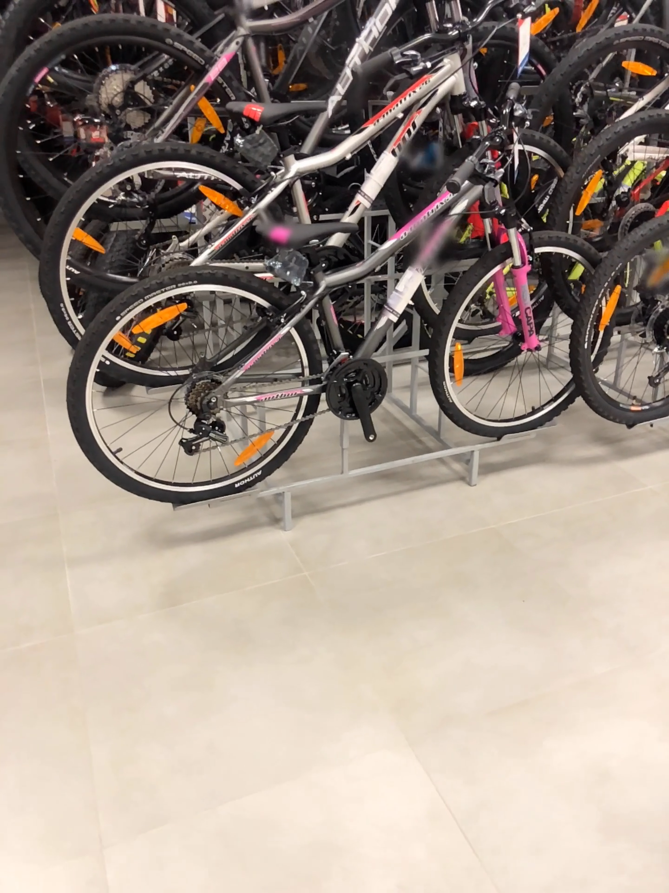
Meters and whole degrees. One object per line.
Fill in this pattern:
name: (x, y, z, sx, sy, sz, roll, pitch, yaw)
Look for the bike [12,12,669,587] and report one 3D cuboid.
bike: (0.120, -0.470, 1.908, 1.607, 0.991, 0.600, -14, 29, -18)
